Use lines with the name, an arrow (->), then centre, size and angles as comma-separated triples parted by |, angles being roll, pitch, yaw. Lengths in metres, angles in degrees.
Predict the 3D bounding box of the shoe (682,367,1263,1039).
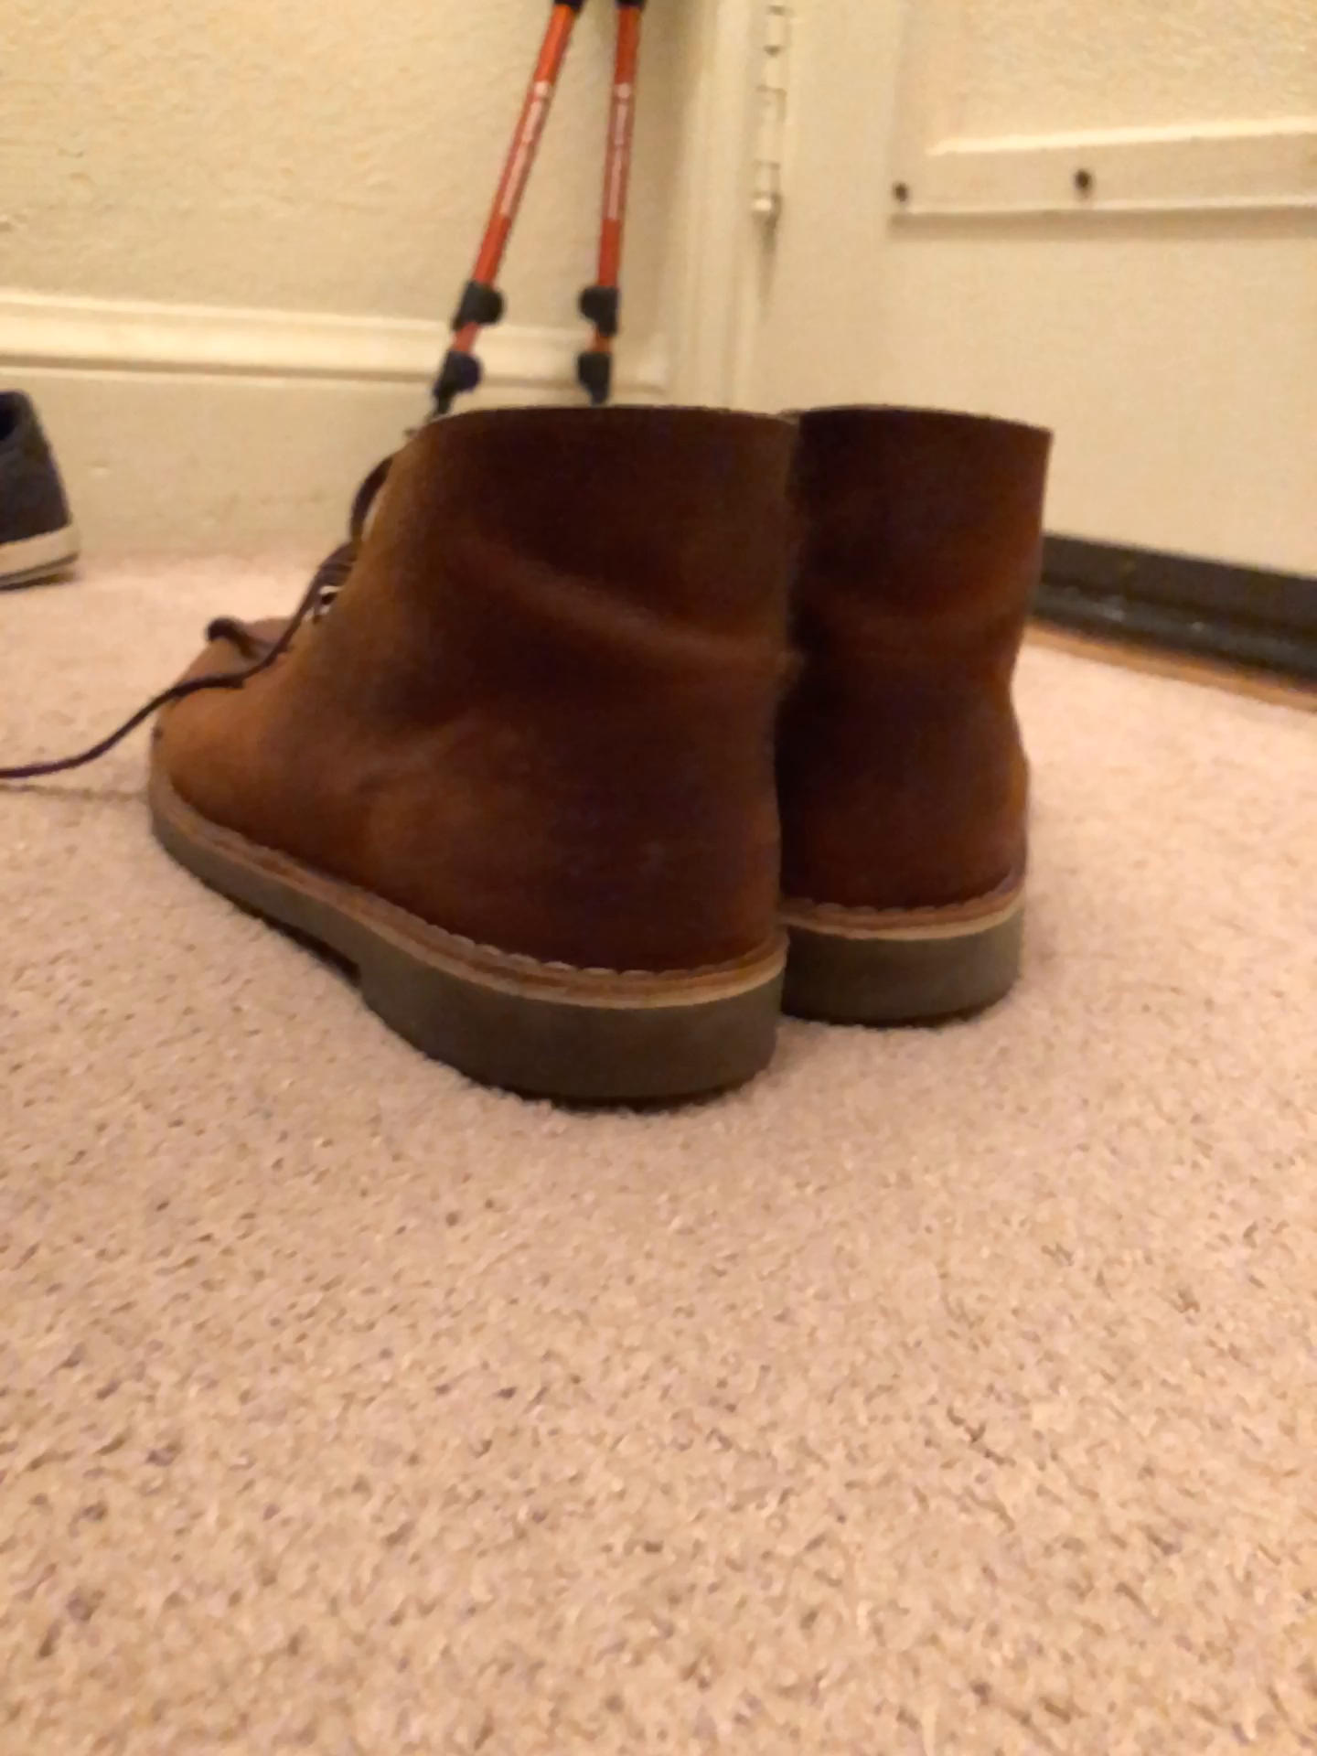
shoe -> 0.070, -0.083, 0.468 | 0.110, 0.138, 0.305 | 4, 20, 1

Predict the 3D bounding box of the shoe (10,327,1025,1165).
shoe -> -0.067, -0.067, 0.399 | 0.110, 0.138, 0.304 | -12, 26, -37
